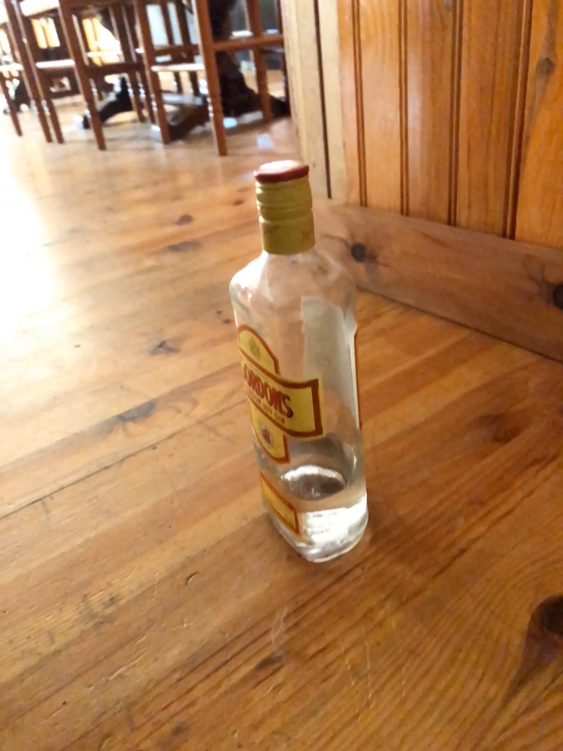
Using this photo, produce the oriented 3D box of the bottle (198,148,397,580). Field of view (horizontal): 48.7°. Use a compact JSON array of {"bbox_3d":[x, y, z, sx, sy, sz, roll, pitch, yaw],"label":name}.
[{"bbox_3d":[0.015,-0.003,0.377,0.060,0.239,0.090,-20,32,-21],"label":"bottle"}]
